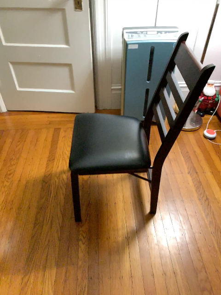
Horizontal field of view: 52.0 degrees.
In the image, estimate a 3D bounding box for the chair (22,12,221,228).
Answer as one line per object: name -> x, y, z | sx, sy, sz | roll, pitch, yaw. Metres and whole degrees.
chair -> 0.028, -0.082, 1.072 | 0.550, 0.865, 0.493 | -3, 43, -3
